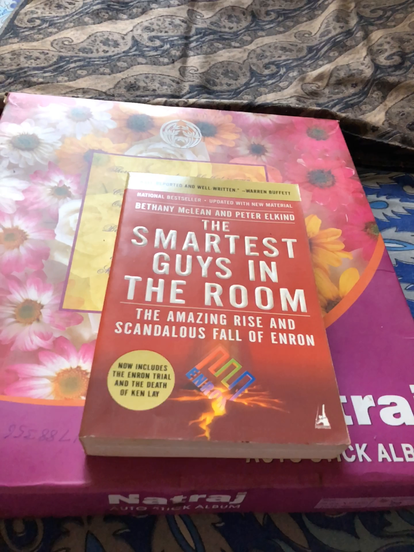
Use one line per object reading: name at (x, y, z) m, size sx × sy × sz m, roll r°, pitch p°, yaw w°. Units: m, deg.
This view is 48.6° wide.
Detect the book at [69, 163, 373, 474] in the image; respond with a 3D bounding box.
book at (0.008, 0.011, 0.310) m, size 0.150 × 0.040 × 0.221 m, roll 2°, pitch 52°, yaw -1°
